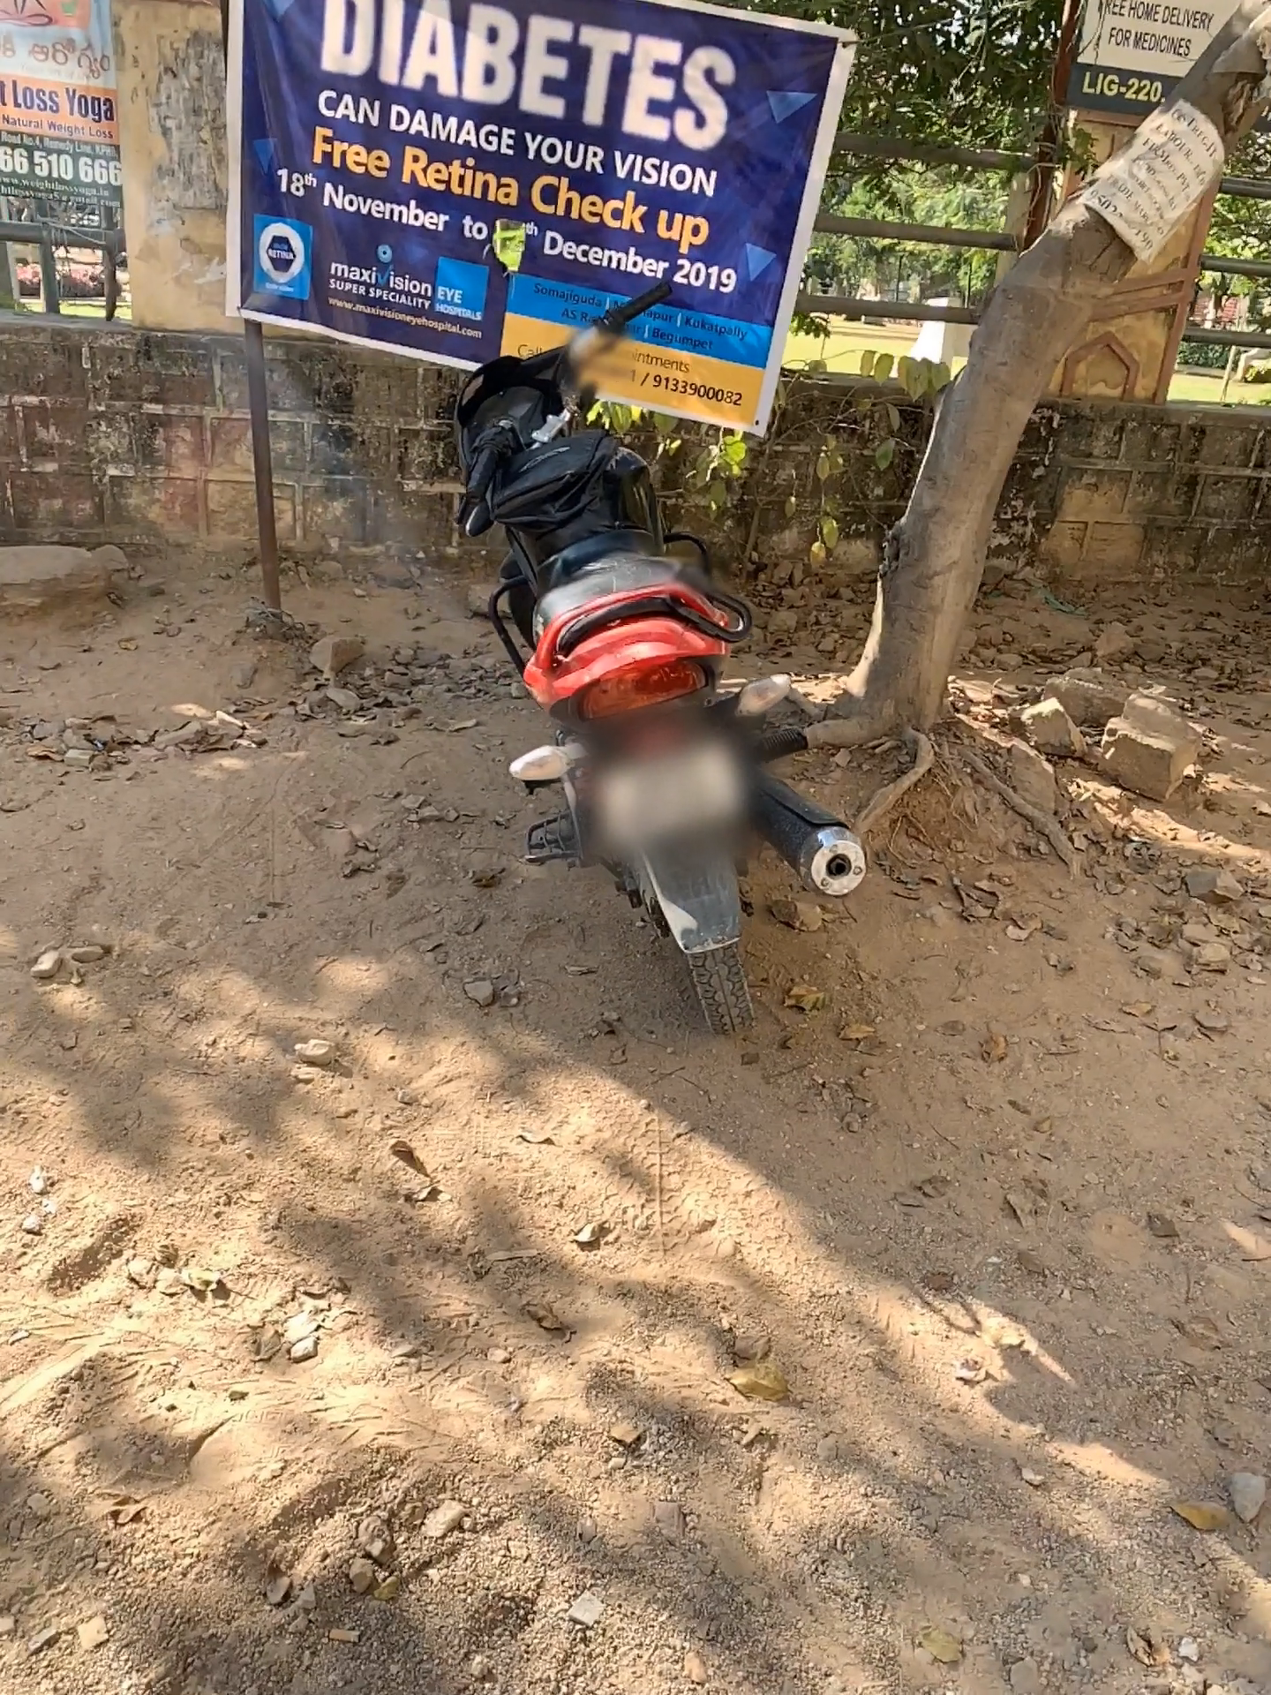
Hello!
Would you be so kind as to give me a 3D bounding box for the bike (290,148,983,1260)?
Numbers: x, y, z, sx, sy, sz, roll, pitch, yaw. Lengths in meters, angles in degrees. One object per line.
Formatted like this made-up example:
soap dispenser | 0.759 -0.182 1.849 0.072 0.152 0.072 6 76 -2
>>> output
bike | -0.209 -0.433 2.516 0.752 1.442 1.623 -3 29 -17
